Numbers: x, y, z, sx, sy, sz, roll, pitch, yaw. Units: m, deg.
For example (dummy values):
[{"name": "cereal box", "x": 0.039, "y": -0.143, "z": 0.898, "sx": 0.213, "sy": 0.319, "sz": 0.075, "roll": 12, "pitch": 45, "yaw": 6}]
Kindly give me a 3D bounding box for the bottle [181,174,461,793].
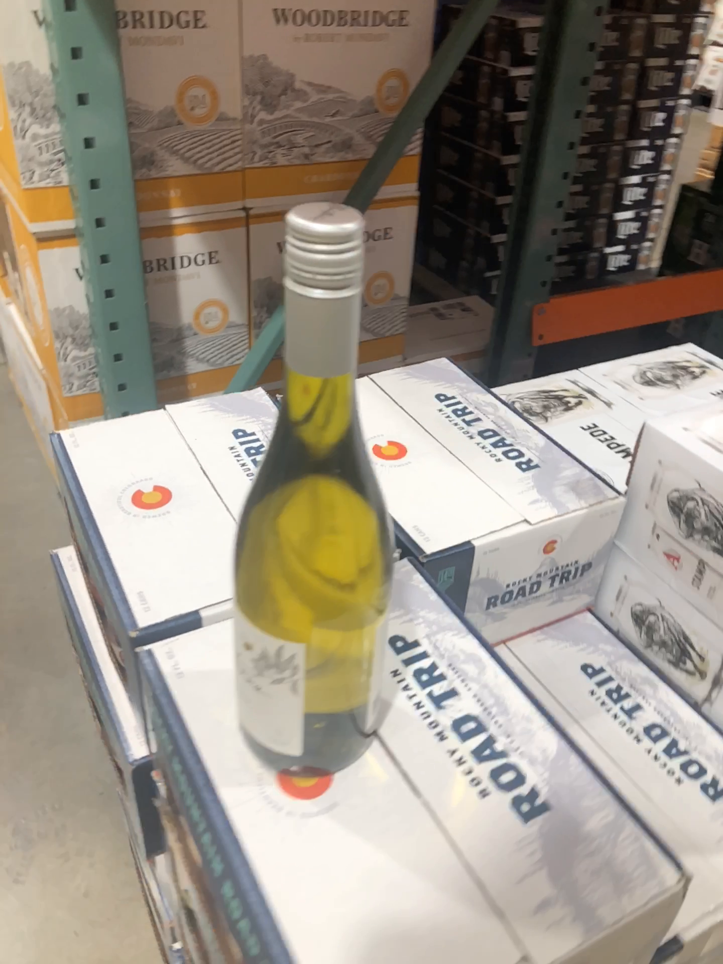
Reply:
[{"name": "bottle", "x": -0.027, "y": 0.014, "z": 0.378, "sx": 0.083, "sy": 0.284, "sz": 0.090, "roll": 3, "pitch": 35, "yaw": -2}]
